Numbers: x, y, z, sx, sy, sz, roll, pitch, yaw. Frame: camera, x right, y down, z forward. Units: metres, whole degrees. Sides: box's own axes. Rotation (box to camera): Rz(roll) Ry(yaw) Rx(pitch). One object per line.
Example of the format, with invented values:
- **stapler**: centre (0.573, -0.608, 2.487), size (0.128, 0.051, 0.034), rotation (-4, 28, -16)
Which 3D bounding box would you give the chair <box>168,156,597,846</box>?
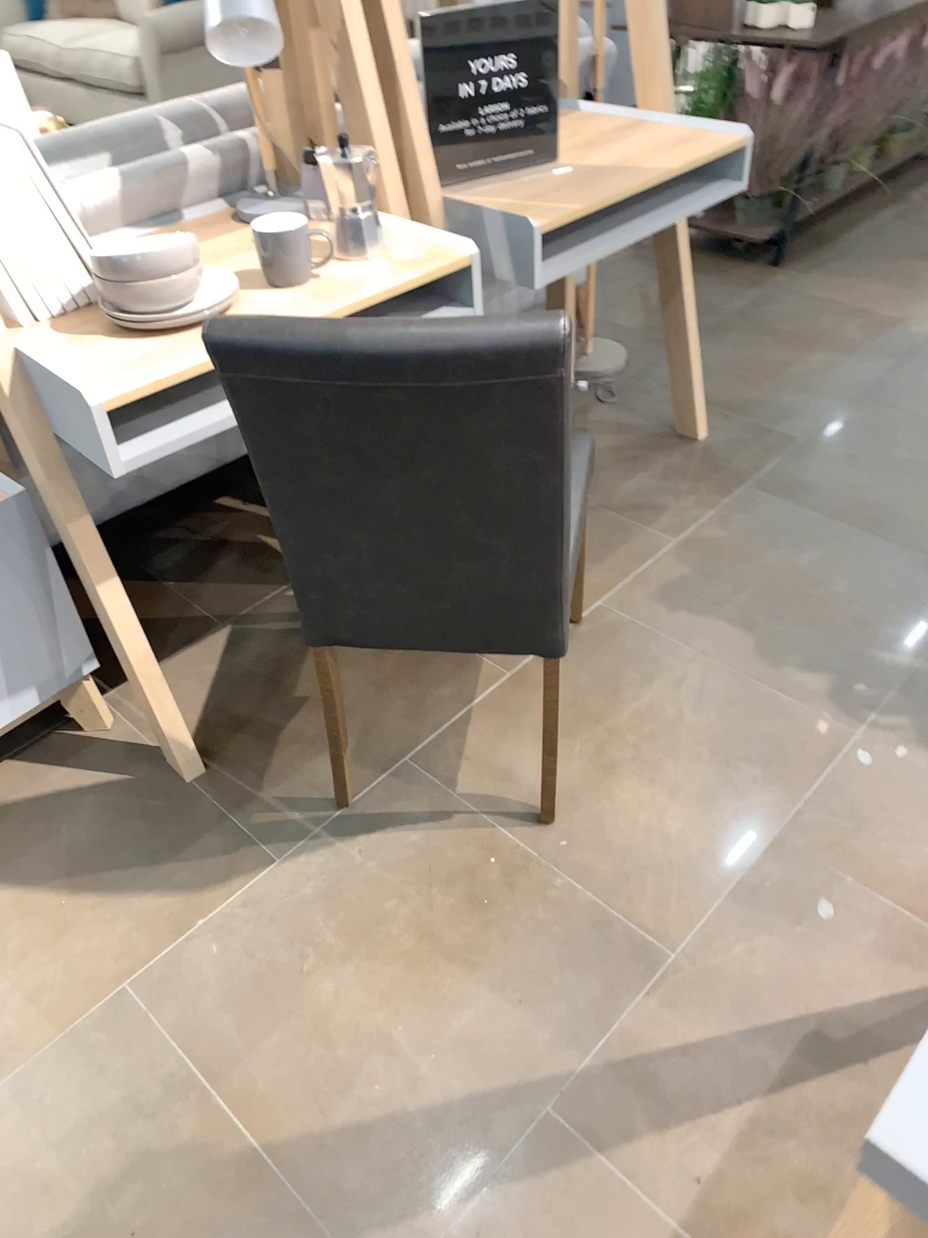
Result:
- **chair**: centre (-0.034, -0.175, 1.516), size (0.456, 0.887, 0.610), rotation (2, 40, 8)
